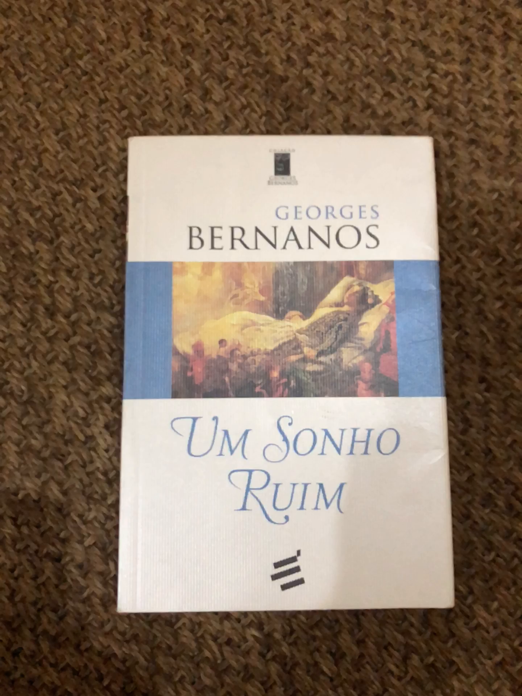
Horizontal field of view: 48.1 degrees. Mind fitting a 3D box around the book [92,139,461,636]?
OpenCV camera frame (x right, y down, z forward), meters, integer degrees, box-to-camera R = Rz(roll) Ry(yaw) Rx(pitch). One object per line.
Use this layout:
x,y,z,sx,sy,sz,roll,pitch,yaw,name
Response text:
0.005,0.011,0.245,0.140,0.020,0.199,-1,82,-1,book
